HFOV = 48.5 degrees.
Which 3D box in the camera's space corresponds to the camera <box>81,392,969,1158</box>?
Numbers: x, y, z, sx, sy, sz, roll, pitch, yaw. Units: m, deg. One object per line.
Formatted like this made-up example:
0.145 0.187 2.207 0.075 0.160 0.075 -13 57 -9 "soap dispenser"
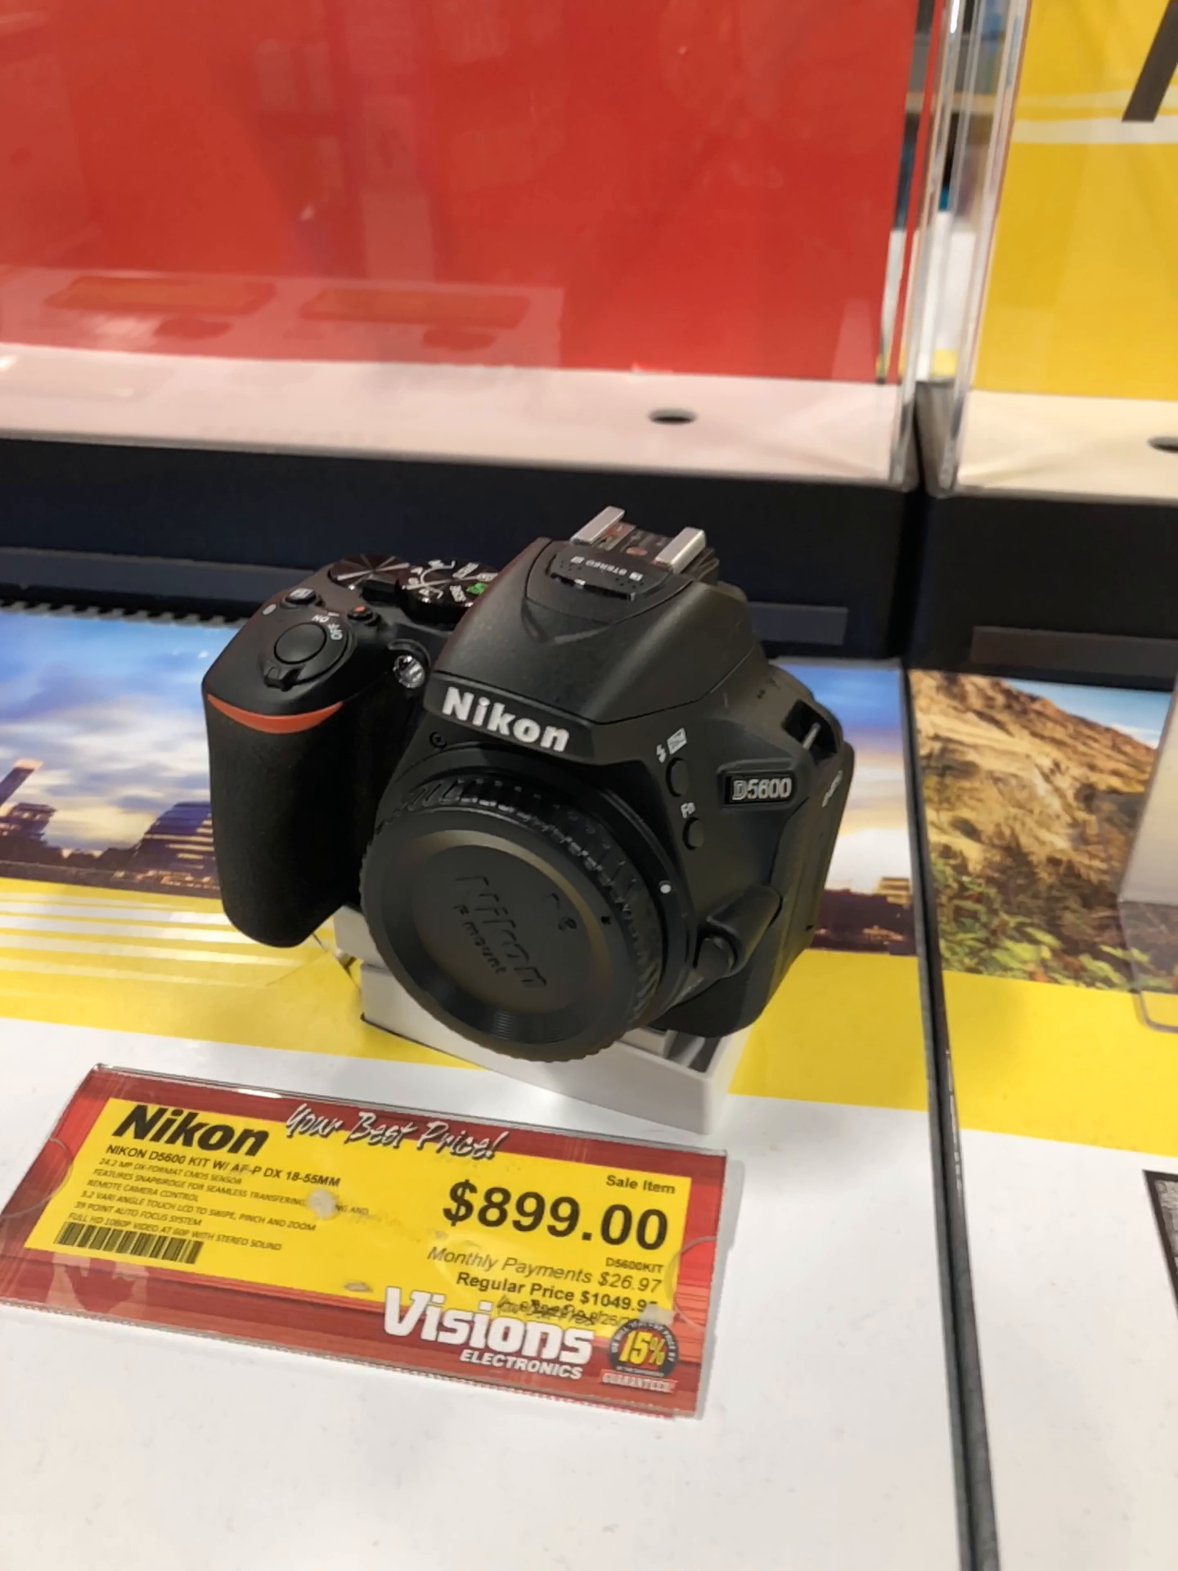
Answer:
-0.012 -0.011 0.261 0.140 0.089 0.080 18 34 19 "camera"
